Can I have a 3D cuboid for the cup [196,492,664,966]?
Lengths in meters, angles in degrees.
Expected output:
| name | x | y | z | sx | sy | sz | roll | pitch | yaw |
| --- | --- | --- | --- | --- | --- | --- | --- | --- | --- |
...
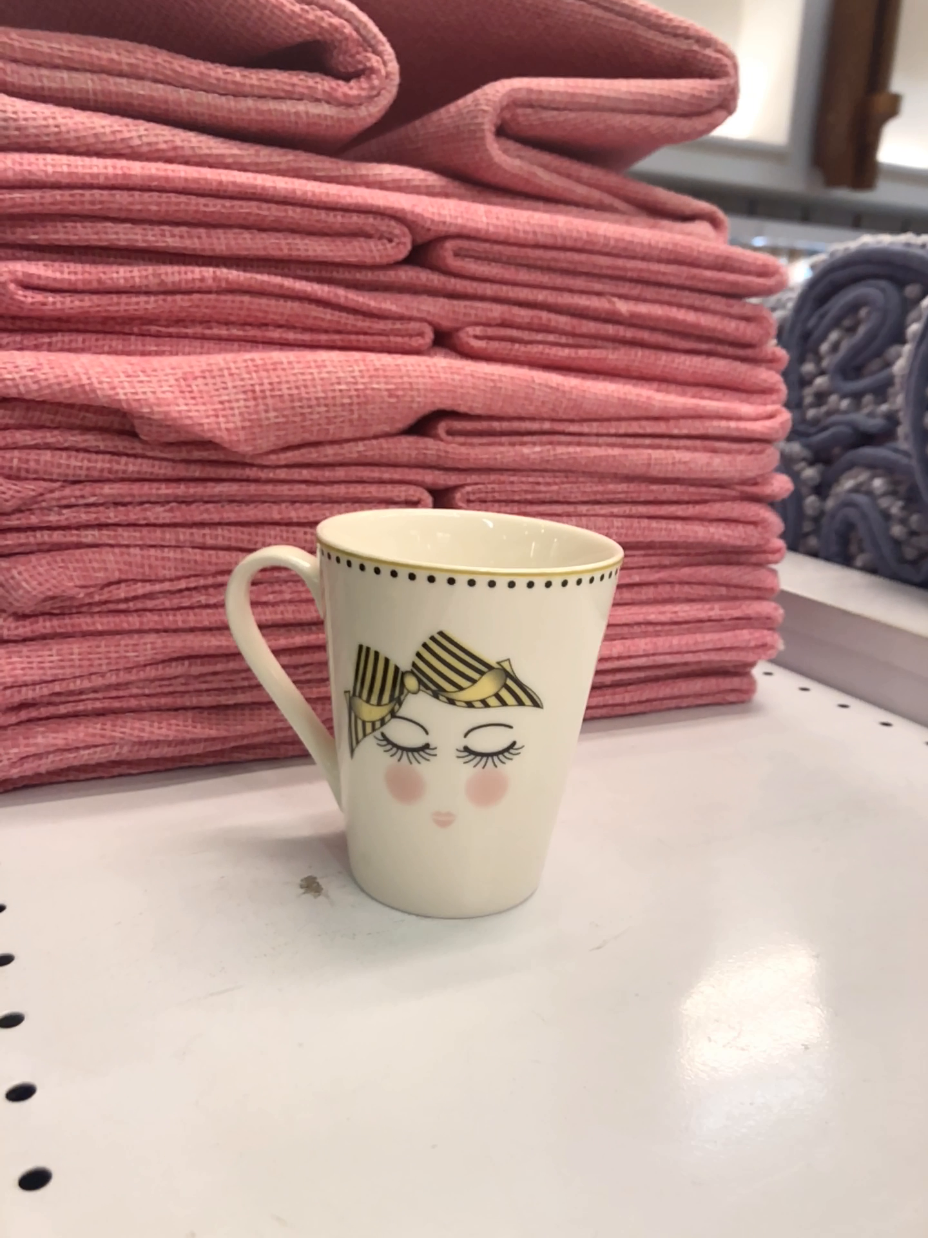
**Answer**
| name | x | y | z | sx | sy | sz | roll | pitch | yaw |
| --- | --- | --- | --- | --- | --- | --- | --- | --- | --- |
| cup | -0.006 | 0.023 | 0.296 | 0.110 | 0.099 | 0.090 | 4 | 15 | 6 |
